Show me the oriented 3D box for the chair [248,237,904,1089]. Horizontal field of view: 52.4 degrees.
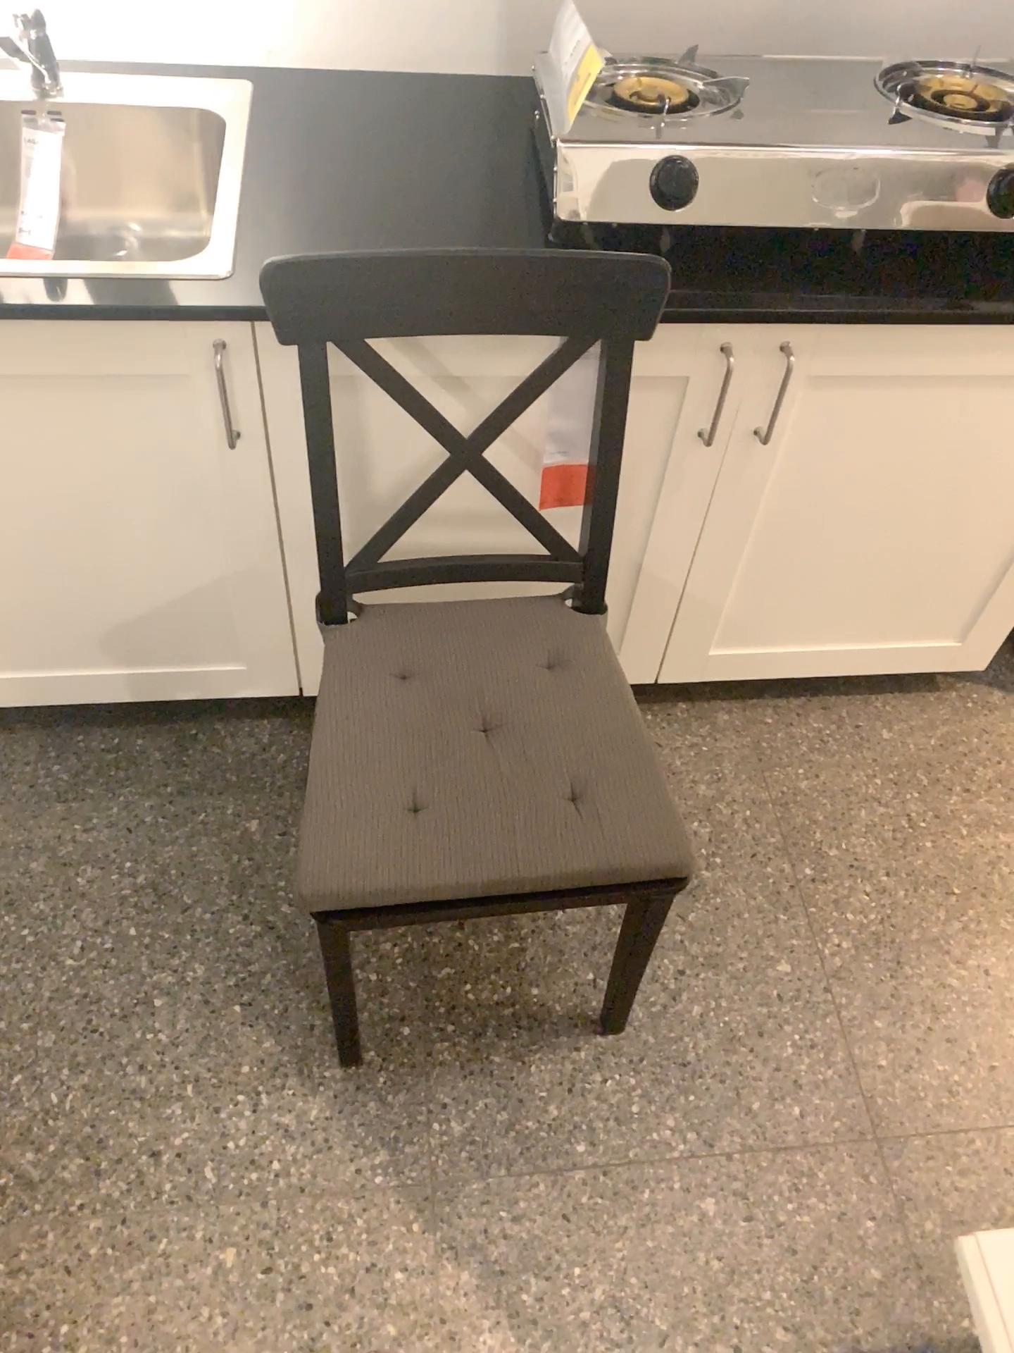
[{"bbox_3d":[-0.012,0.036,1.101,0.420,0.787,0.492,-4,51,-9],"label":"chair"}]
